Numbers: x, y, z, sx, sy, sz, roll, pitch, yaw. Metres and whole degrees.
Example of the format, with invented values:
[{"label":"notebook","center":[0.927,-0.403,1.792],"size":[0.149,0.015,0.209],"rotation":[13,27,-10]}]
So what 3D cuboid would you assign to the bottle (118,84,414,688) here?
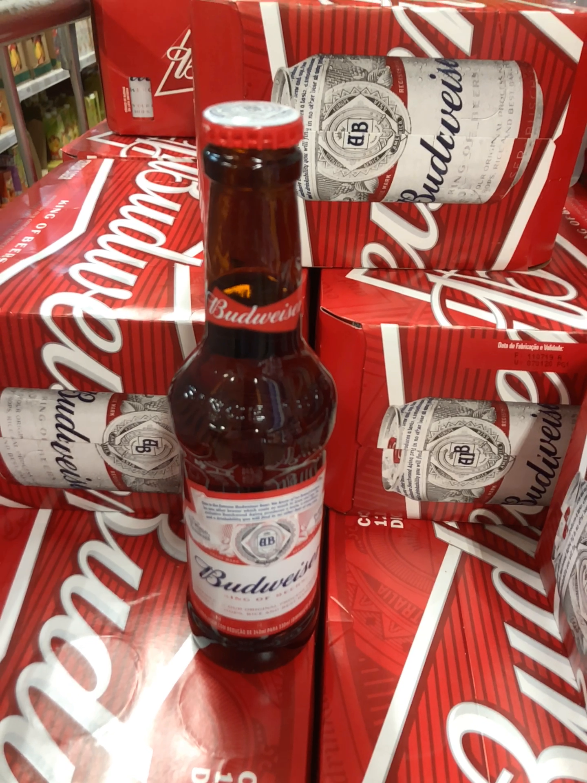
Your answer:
[{"label":"bottle","center":[-0.012,0.015,0.242],"size":[0.070,0.228,0.060],"rotation":[-3,35,-6]}]
